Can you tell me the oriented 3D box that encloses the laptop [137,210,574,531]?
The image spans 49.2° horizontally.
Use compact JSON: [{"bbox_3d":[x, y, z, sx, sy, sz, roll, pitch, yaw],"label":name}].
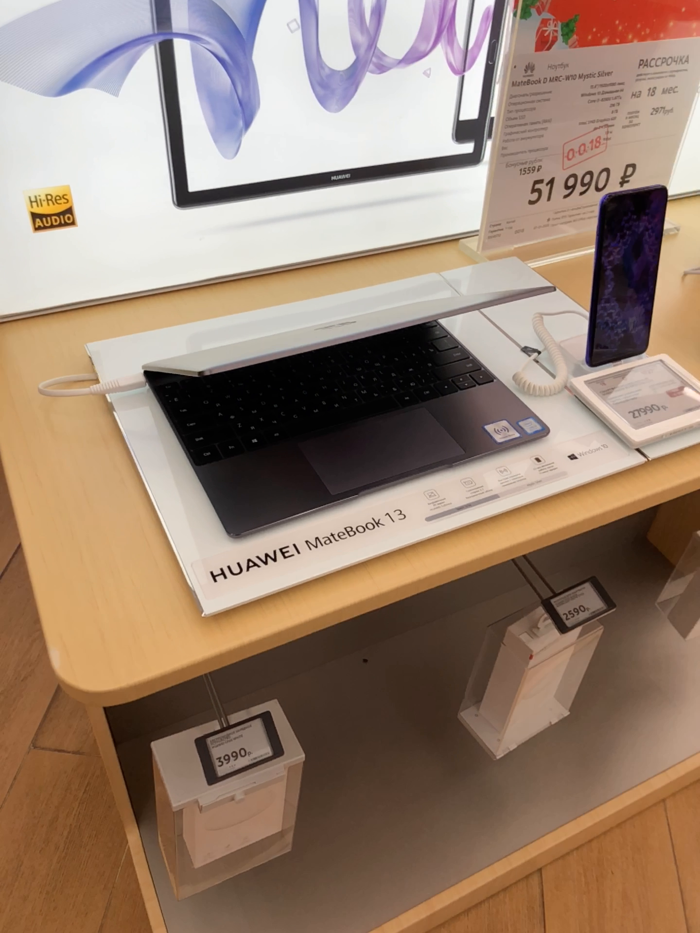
[{"bbox_3d":[-0.002,-0.095,0.611,0.271,0.106,0.204,-16,46,-23],"label":"laptop"}]
